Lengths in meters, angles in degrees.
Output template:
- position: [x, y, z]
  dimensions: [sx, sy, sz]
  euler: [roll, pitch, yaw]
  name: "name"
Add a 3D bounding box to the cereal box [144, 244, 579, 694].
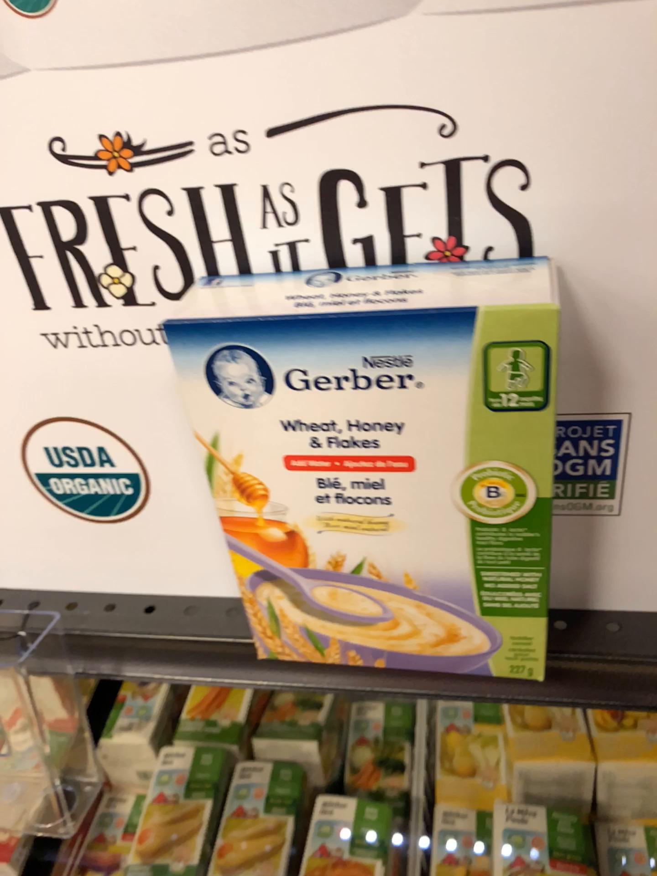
- position: [0.025, 0.024, 0.325]
  dimensions: [0.150, 0.199, 0.050]
  euler: [0, 36, 14]
  name: "cereal box"
